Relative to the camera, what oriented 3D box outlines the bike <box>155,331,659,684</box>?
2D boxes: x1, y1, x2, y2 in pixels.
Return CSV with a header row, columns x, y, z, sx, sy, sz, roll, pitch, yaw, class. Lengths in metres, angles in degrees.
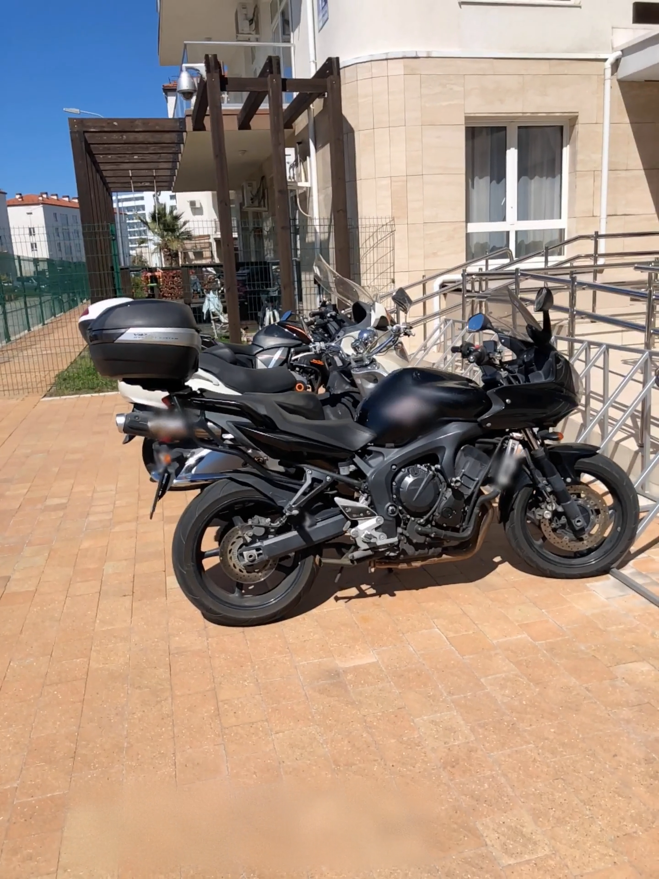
x,y,z,sx,sy,sz,roll,pitch,yaw,class
0.416,0.180,2.778,1.919,1.004,0.607,-6,12,-11,bike
